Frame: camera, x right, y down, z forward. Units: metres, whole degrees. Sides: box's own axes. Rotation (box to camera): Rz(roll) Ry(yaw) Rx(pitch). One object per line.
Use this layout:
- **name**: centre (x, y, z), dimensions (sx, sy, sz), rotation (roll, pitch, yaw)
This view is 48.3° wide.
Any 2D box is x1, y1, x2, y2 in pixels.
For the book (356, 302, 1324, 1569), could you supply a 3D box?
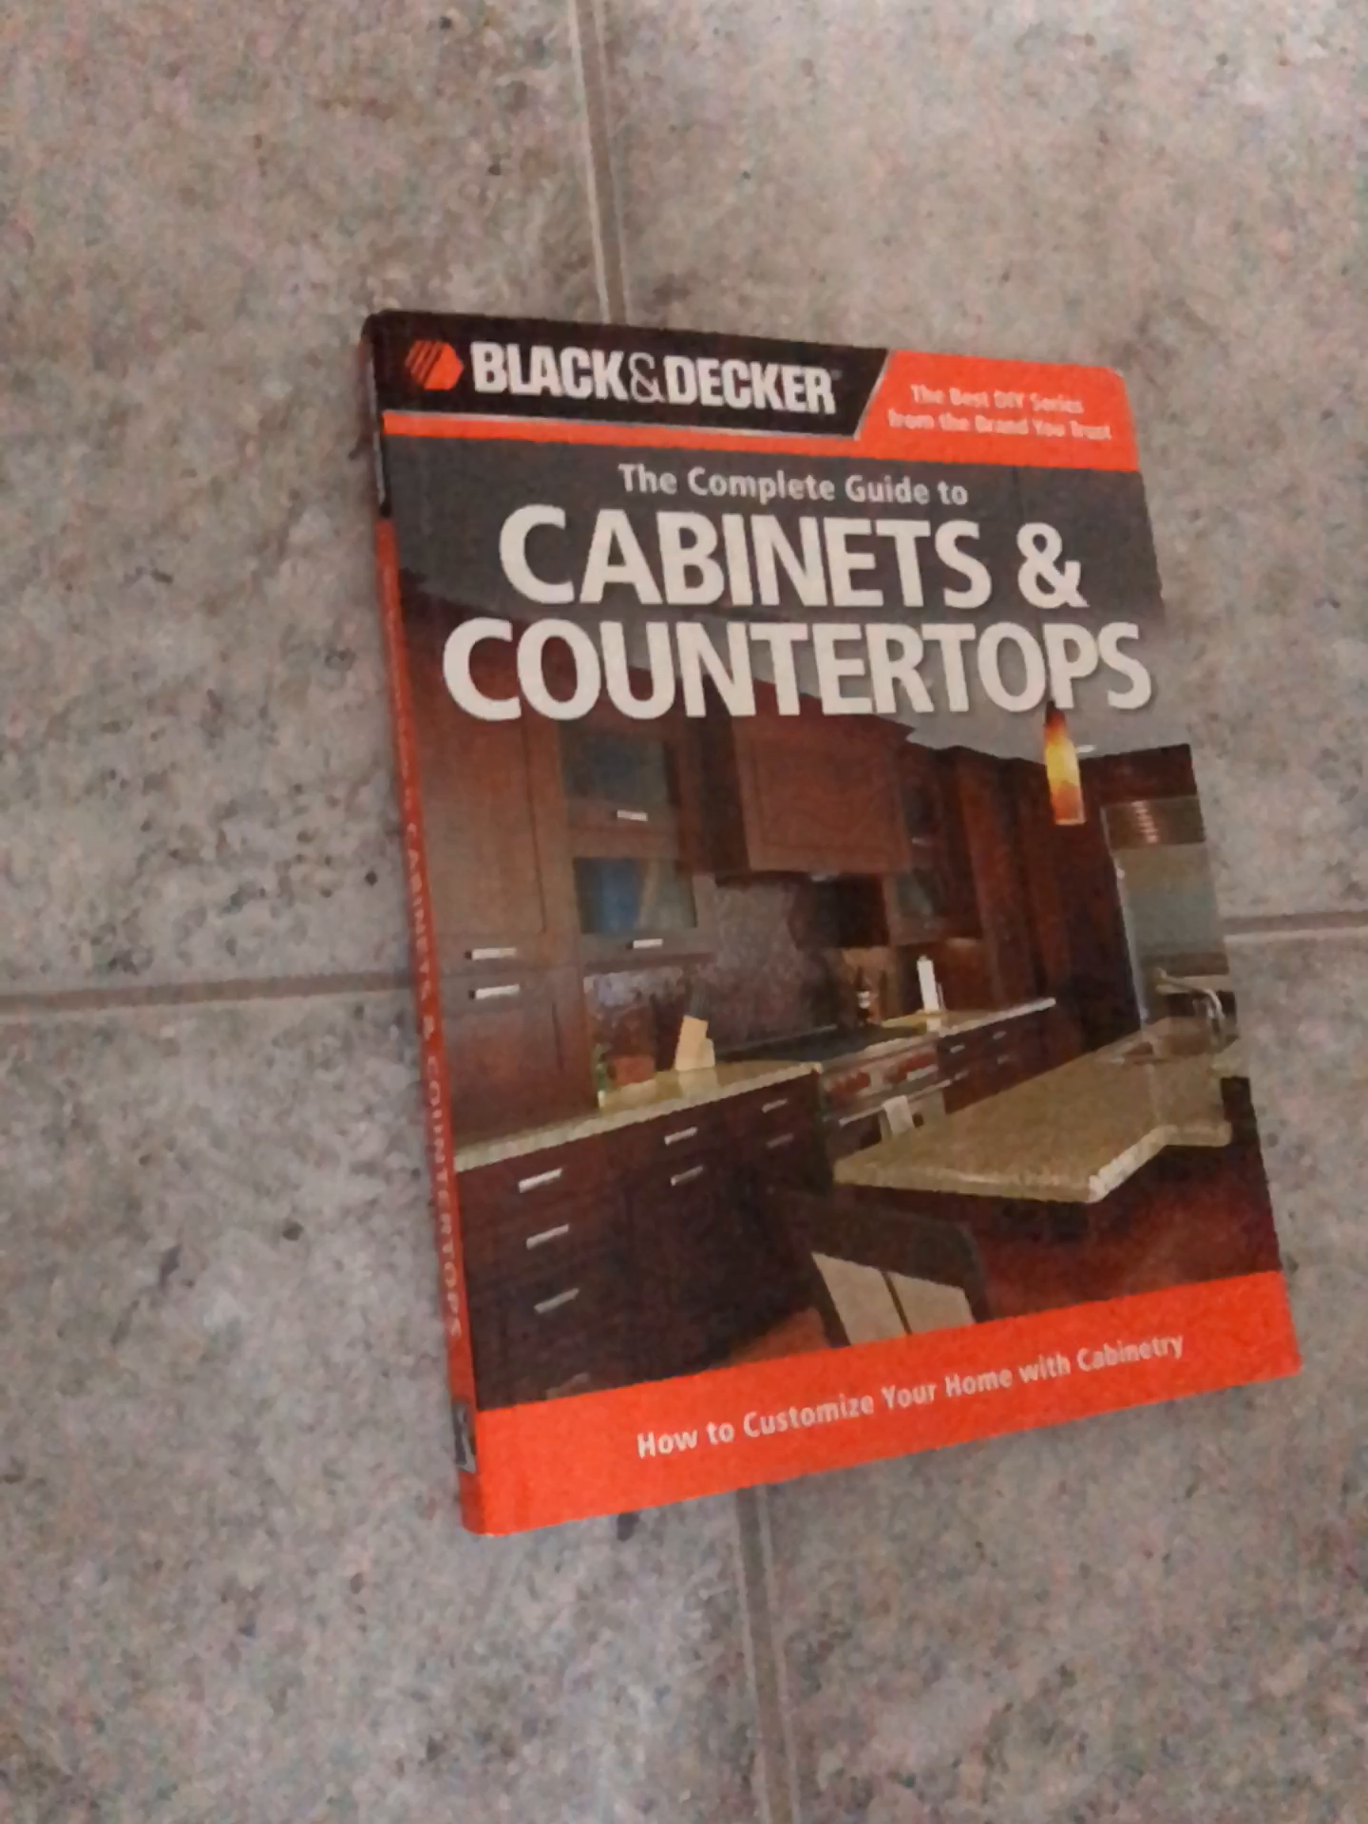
- **book**: centre (0.040, -0.008, 0.379), dimensions (0.216, 0.022, 0.281), rotation (-3, 80, -20)
